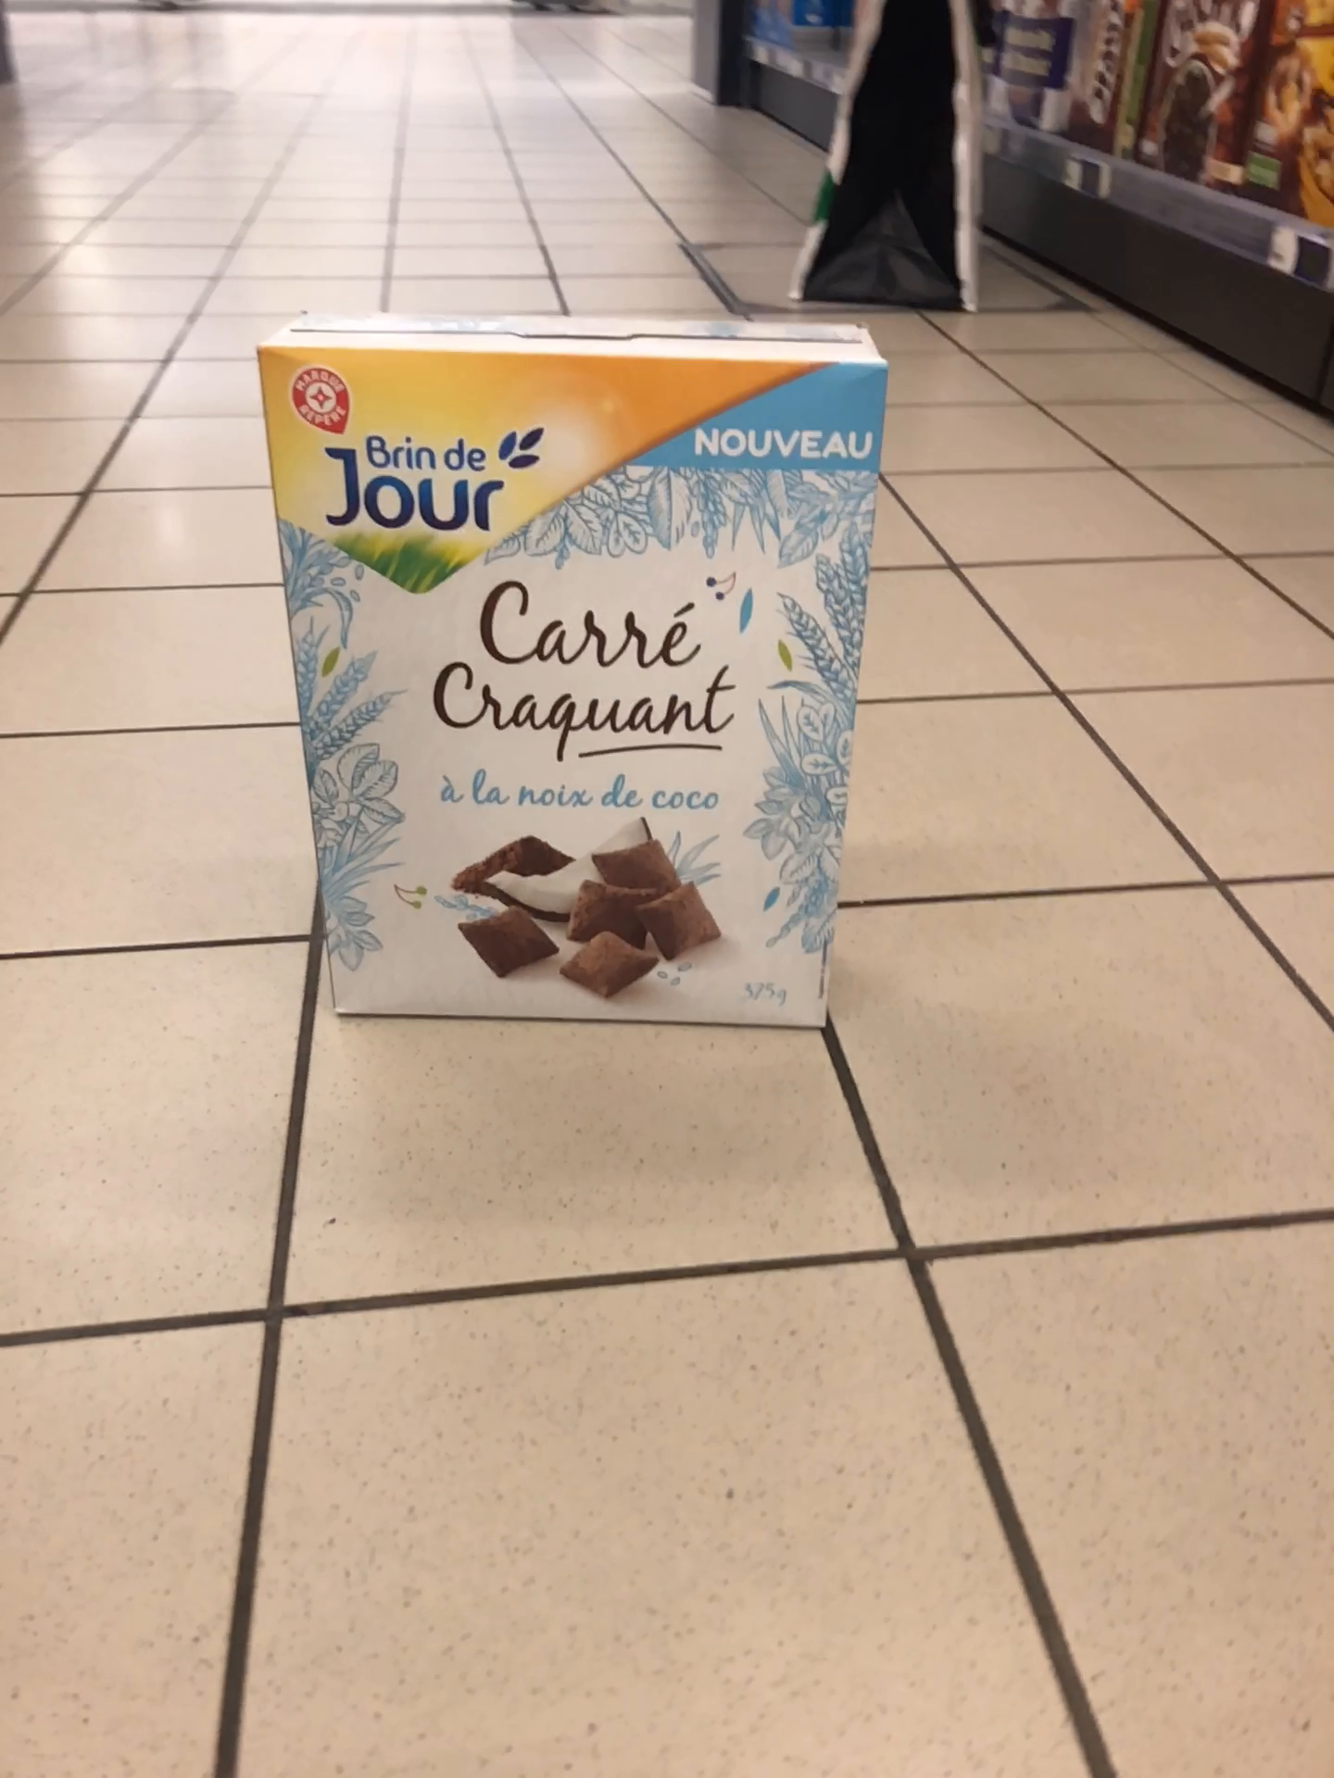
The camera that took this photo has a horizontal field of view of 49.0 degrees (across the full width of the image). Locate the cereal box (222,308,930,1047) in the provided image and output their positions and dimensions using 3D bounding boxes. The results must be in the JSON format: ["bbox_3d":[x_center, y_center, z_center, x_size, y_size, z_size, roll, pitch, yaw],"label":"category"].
[{"bbox_3d":[-0.025,-0.066,0.504,0.200,0.238,0.070,2,31,2],"label":"cereal box"}]
